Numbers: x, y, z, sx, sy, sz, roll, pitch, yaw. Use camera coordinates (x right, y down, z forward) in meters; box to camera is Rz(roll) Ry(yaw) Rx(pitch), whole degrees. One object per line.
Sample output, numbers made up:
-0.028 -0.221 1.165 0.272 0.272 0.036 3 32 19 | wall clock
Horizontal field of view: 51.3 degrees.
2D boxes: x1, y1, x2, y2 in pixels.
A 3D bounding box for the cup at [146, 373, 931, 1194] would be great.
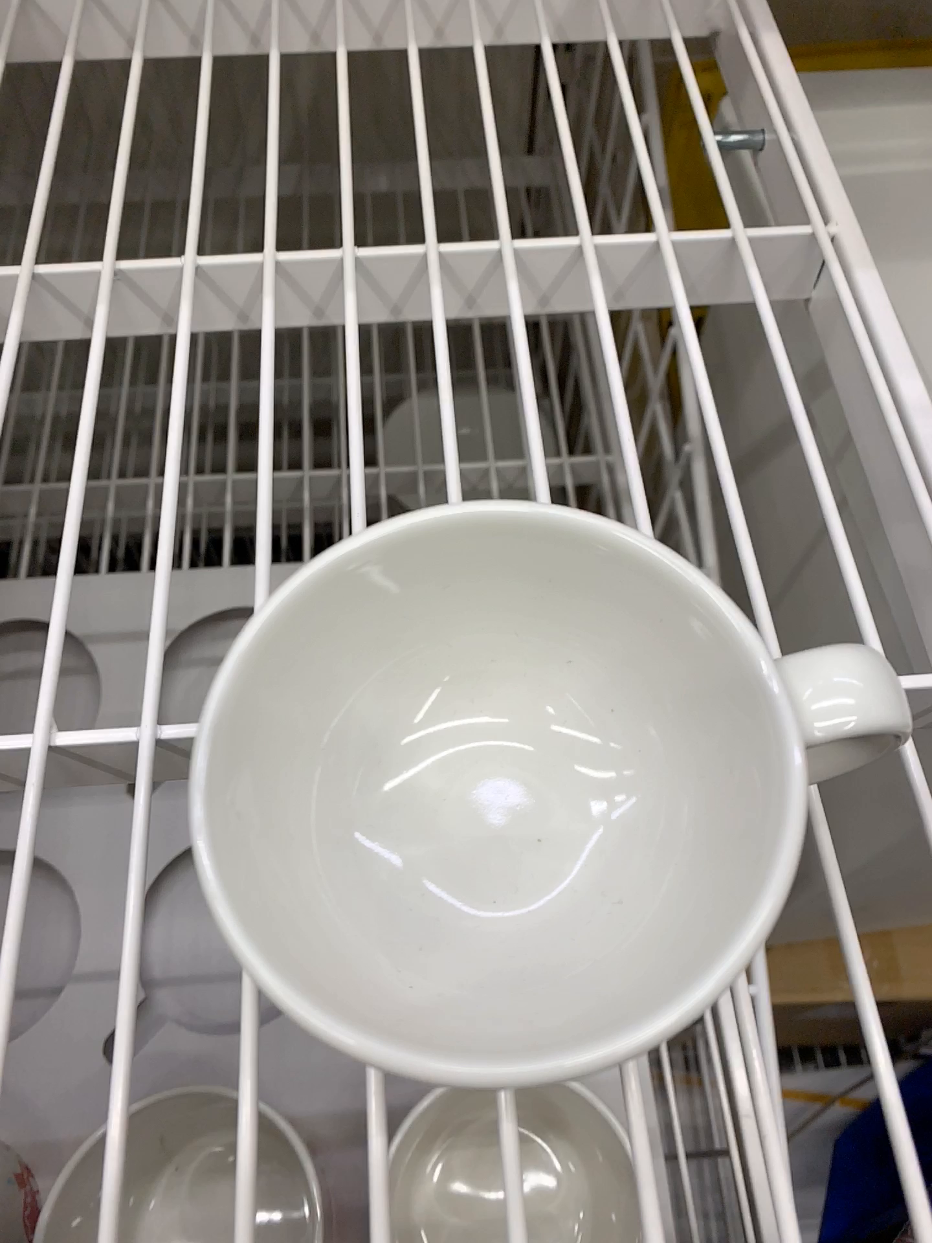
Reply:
0.017 0.018 0.147 0.116 0.036 0.096 -9 61 -7 | cup
